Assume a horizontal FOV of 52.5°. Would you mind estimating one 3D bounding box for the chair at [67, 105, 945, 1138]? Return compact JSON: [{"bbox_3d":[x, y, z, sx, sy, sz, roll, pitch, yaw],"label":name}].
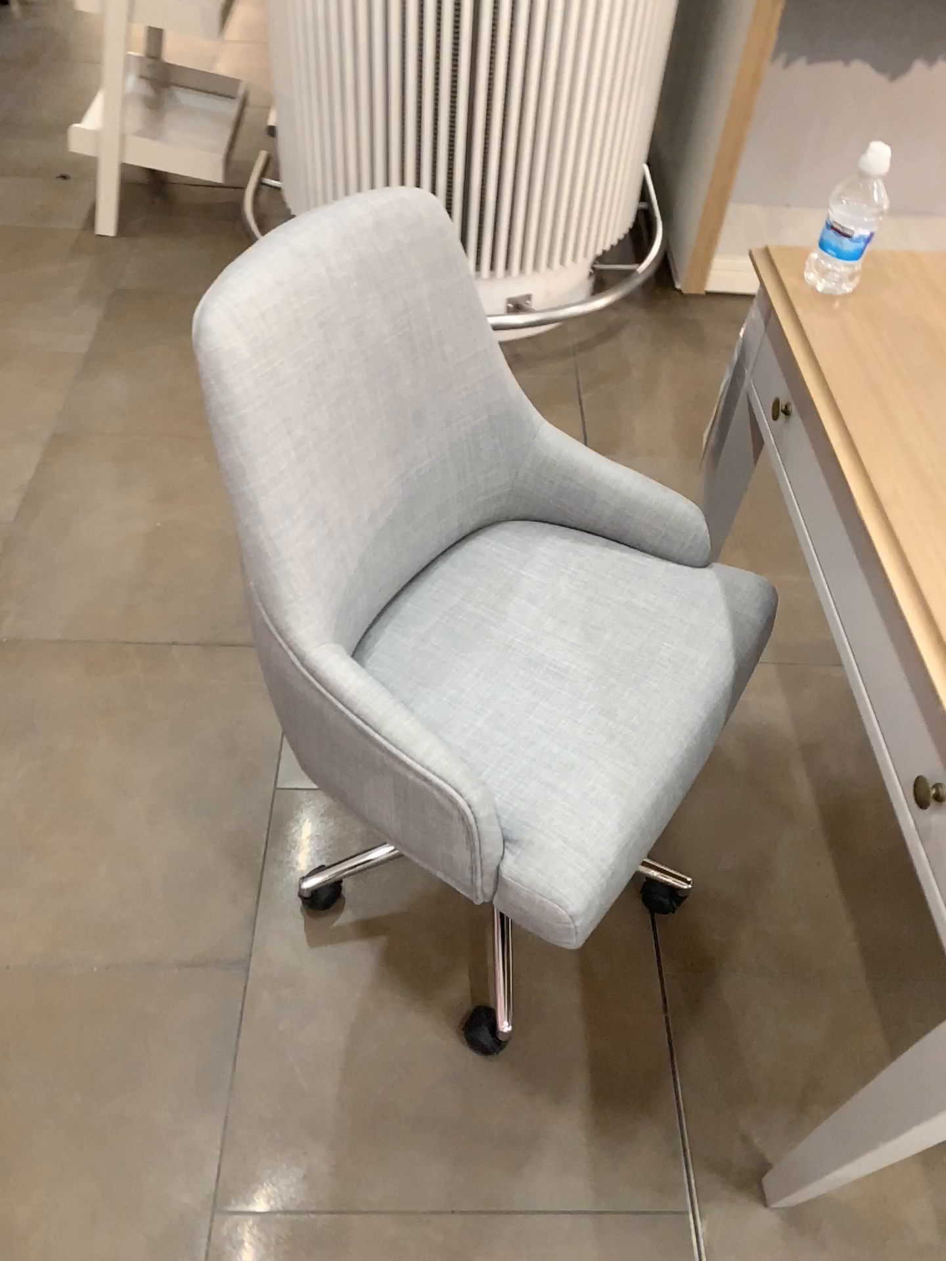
[{"bbox_3d":[0.087,0.014,1.167,0.637,0.891,0.628,30,53,20],"label":"chair"}]
